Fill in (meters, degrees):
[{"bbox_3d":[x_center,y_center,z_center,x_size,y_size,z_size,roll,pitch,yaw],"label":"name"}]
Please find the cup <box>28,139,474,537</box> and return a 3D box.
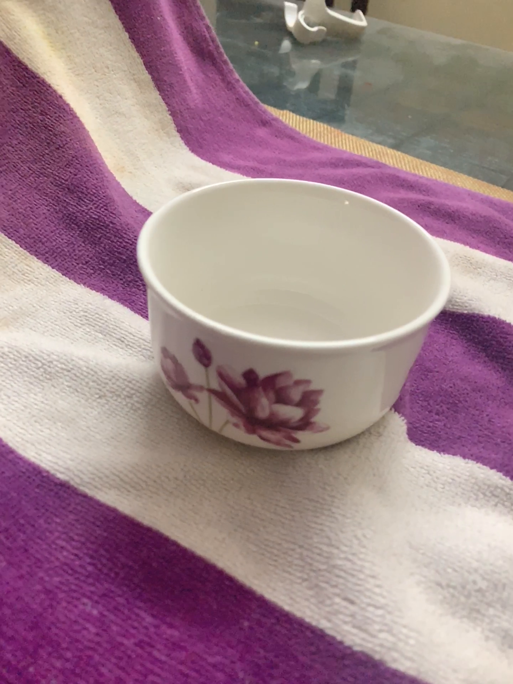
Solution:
[{"bbox_3d":[0.007,-0.015,0.181,0.100,0.050,0.111,21,43,15],"label":"cup"}]
